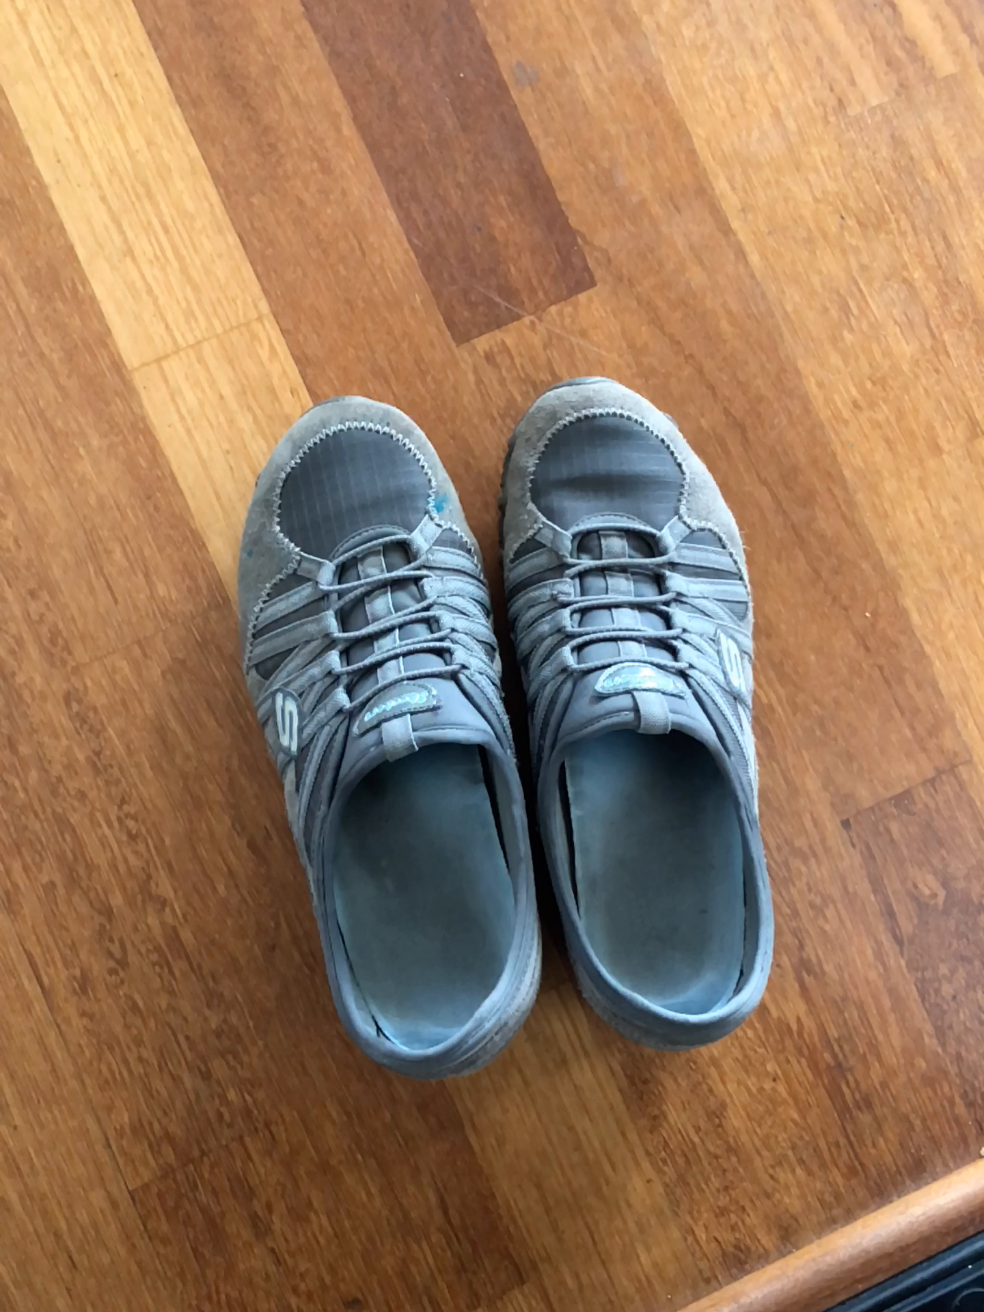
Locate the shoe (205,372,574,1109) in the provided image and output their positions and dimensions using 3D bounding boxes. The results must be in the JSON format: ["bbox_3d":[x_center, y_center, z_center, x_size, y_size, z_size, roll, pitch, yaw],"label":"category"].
[{"bbox_3d":[-0.040,0.030,0.444,0.096,0.106,0.253,-9,88,-4],"label":"shoe"}]

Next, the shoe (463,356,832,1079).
[{"bbox_3d":[0.055,0.022,0.445,0.093,0.106,0.249,-9,88,-4],"label":"shoe"}]
